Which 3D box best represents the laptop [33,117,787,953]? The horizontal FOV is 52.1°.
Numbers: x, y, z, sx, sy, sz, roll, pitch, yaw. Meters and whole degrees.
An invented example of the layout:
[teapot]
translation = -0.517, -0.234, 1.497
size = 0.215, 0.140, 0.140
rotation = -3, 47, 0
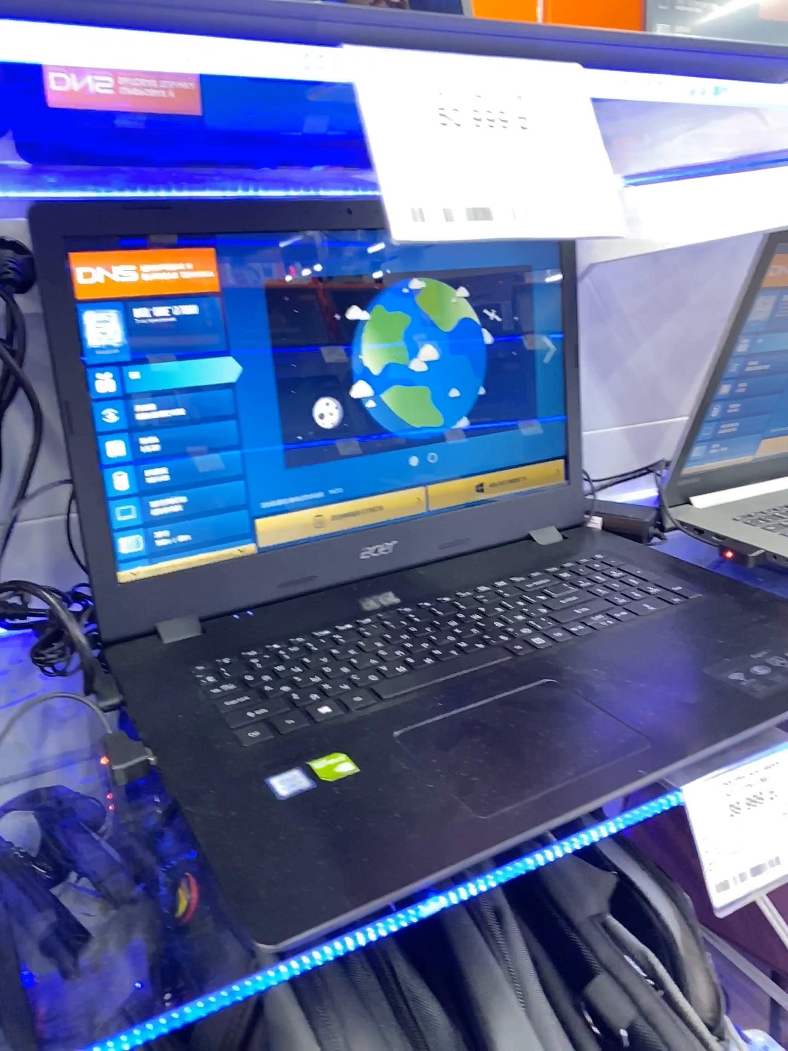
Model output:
[laptop]
translation = 0.053, -0.058, 0.482
size = 0.422, 0.273, 0.328
rotation = -12, 20, -27
